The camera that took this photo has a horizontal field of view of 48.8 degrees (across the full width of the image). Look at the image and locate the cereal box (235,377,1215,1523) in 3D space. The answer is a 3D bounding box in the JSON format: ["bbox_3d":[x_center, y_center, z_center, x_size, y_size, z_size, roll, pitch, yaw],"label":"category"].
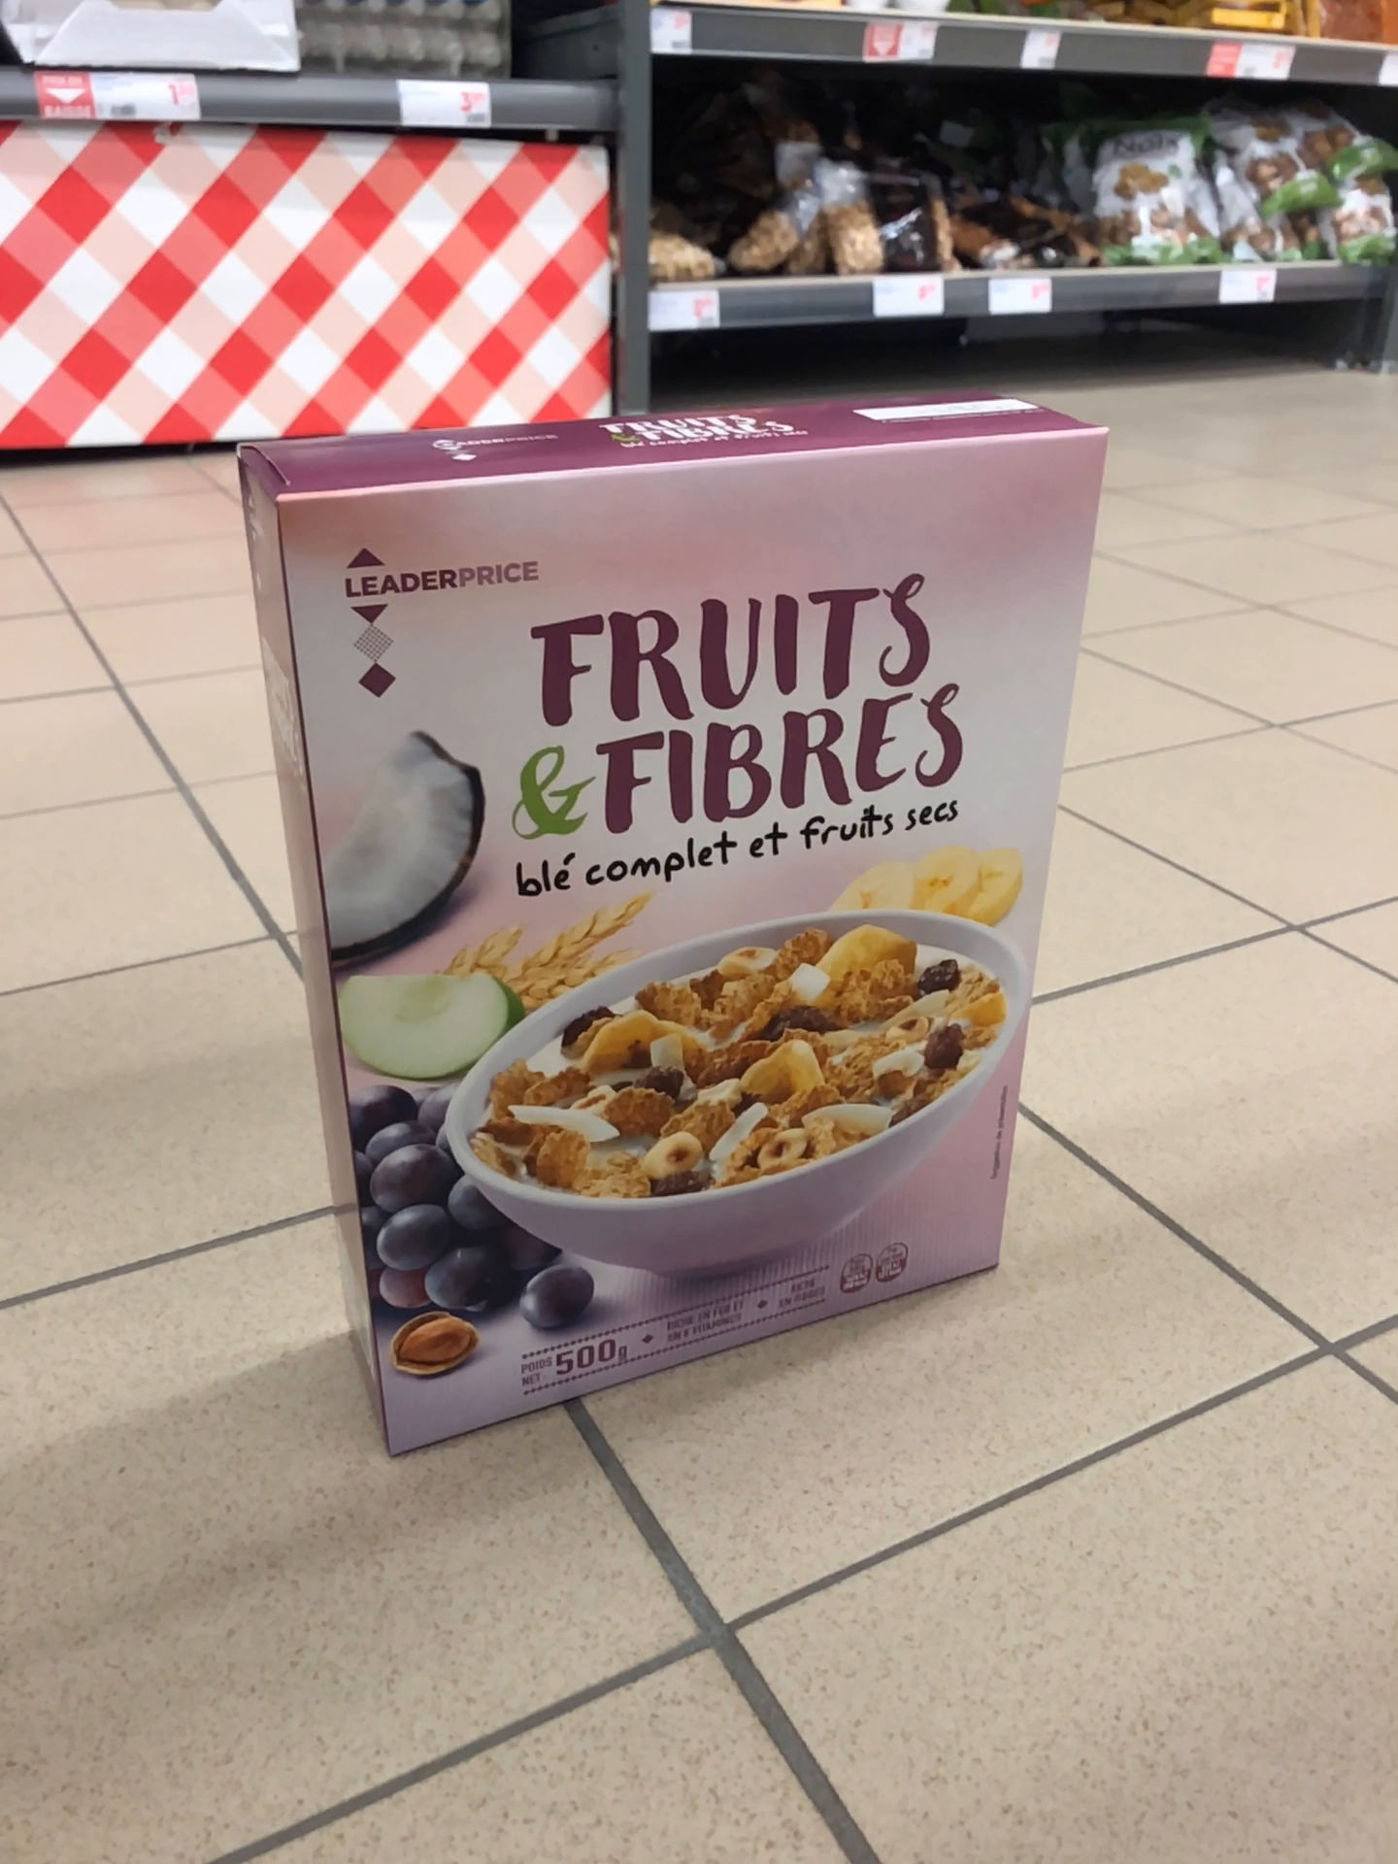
[{"bbox_3d":[0.010,0.002,0.396,0.211,0.259,0.060,-11,28,-21],"label":"cereal box"}]
